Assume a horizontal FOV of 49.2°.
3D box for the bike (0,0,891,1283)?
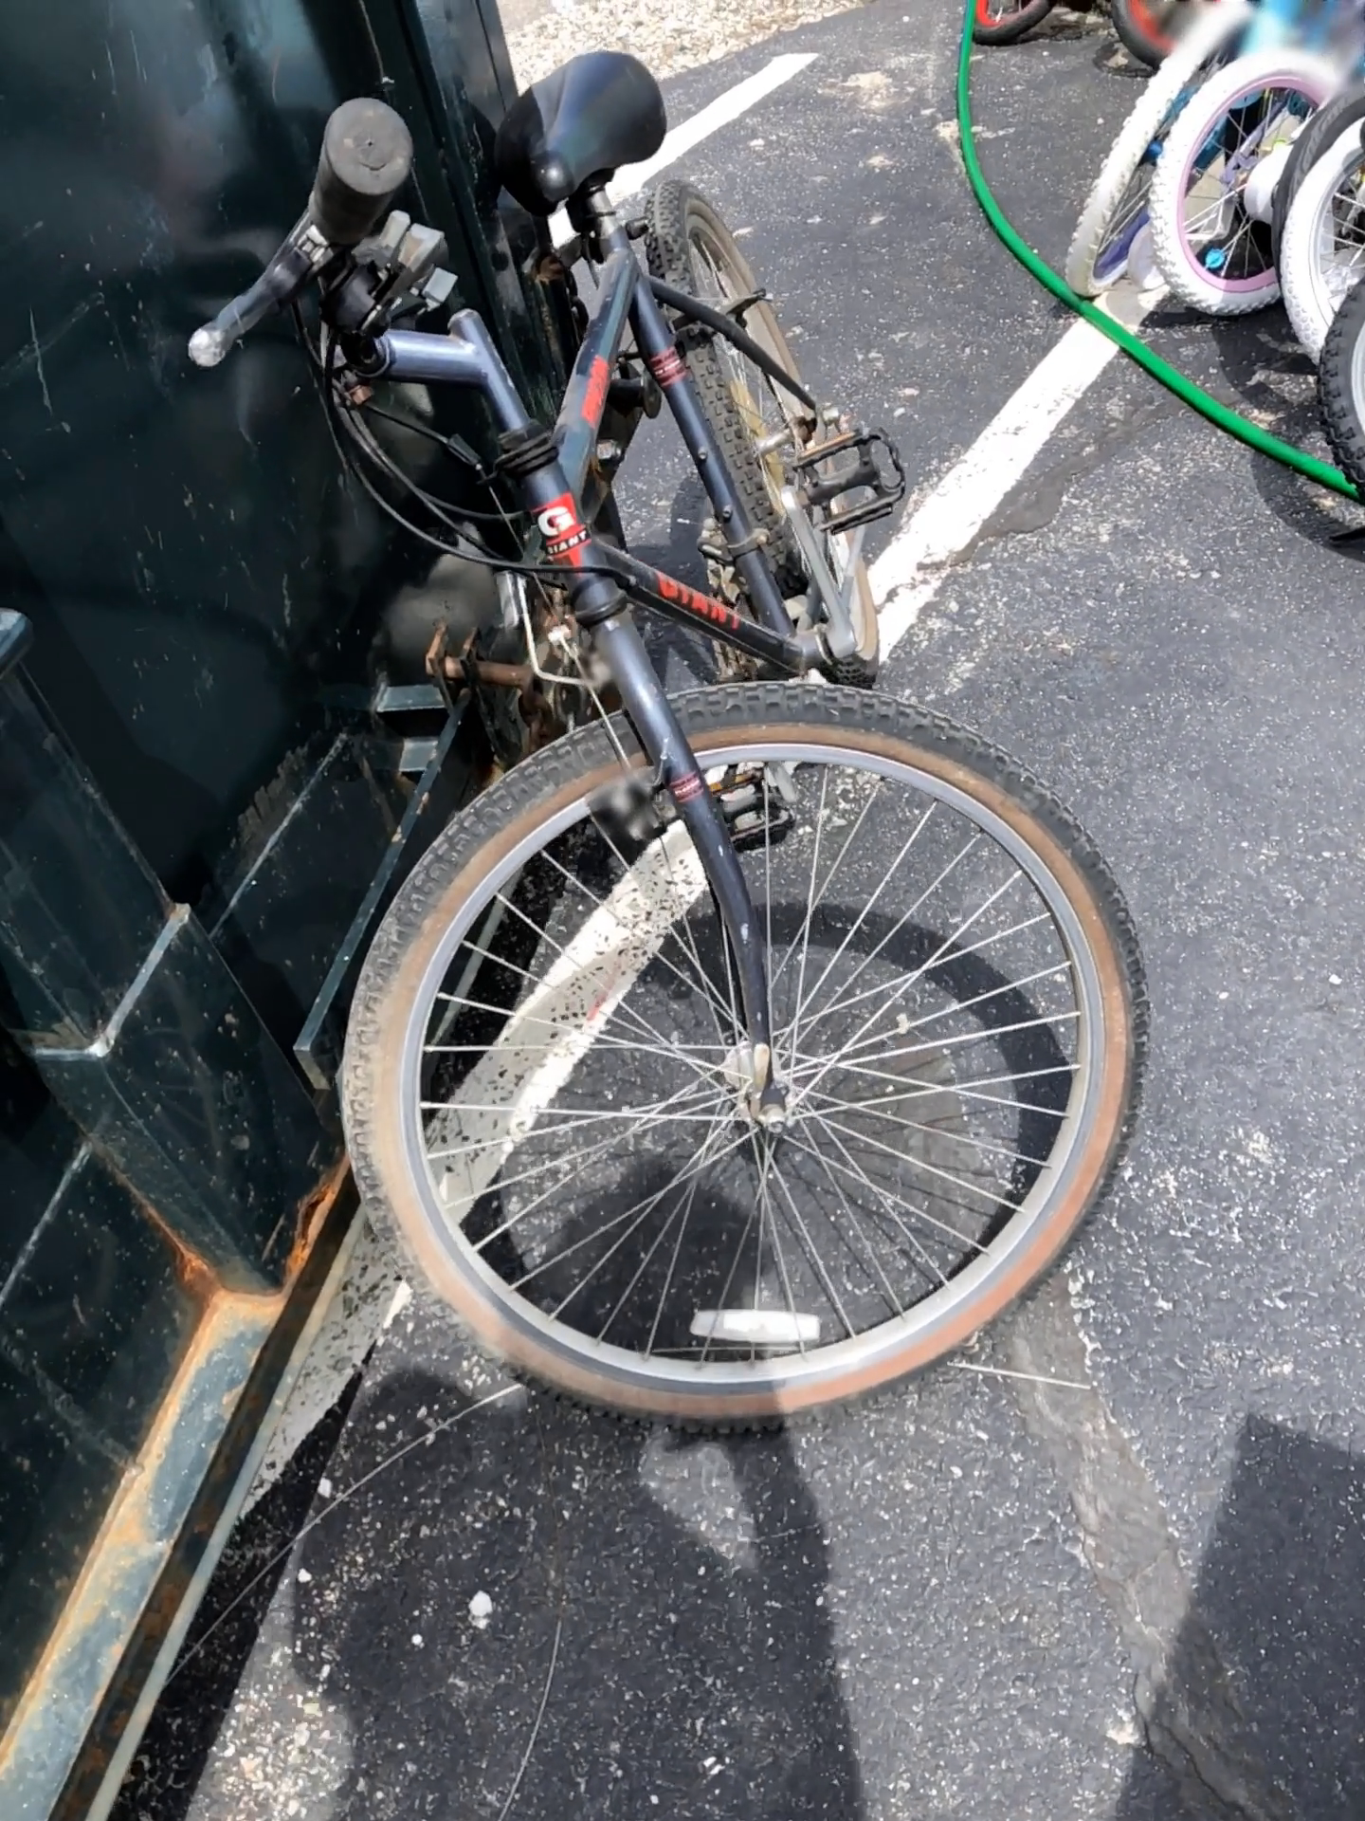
[{"bbox_3d":[-0.307,-0.371,1.382,0.634,0.832,1.105,7,46,17],"label":"bike"}]
